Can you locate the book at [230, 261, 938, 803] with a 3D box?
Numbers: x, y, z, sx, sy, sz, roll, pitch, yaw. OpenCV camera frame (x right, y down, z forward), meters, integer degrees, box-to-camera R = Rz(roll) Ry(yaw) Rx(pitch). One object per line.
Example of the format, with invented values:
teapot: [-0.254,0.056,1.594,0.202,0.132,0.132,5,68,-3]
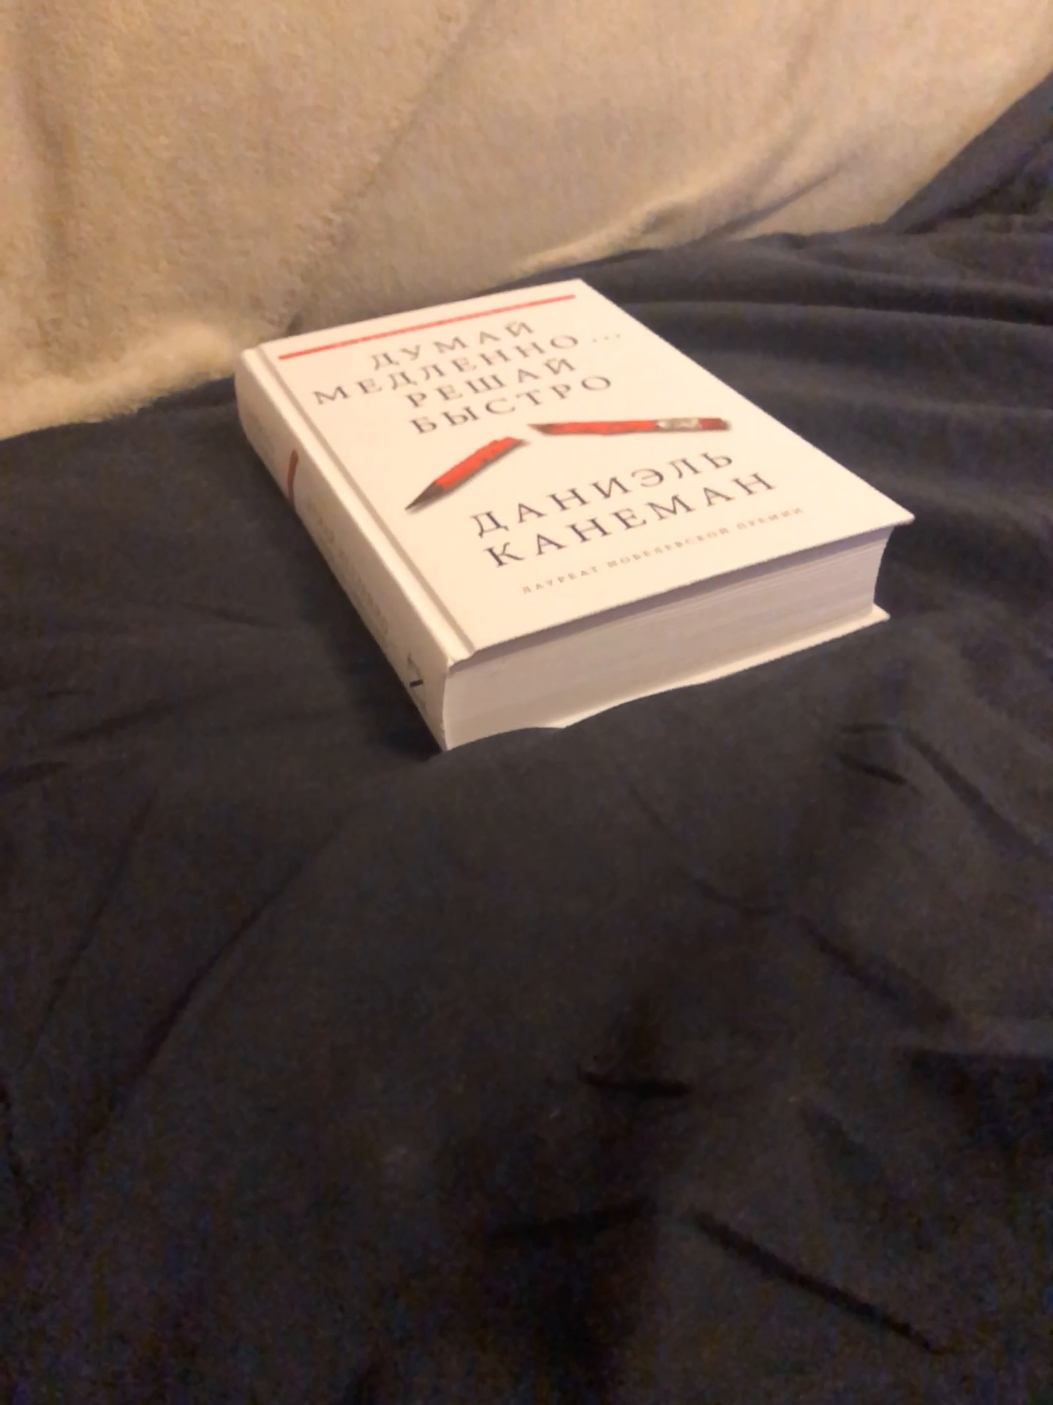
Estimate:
book: [0.003,-0.078,0.397,0.149,0.050,0.220,-18,42,-17]
